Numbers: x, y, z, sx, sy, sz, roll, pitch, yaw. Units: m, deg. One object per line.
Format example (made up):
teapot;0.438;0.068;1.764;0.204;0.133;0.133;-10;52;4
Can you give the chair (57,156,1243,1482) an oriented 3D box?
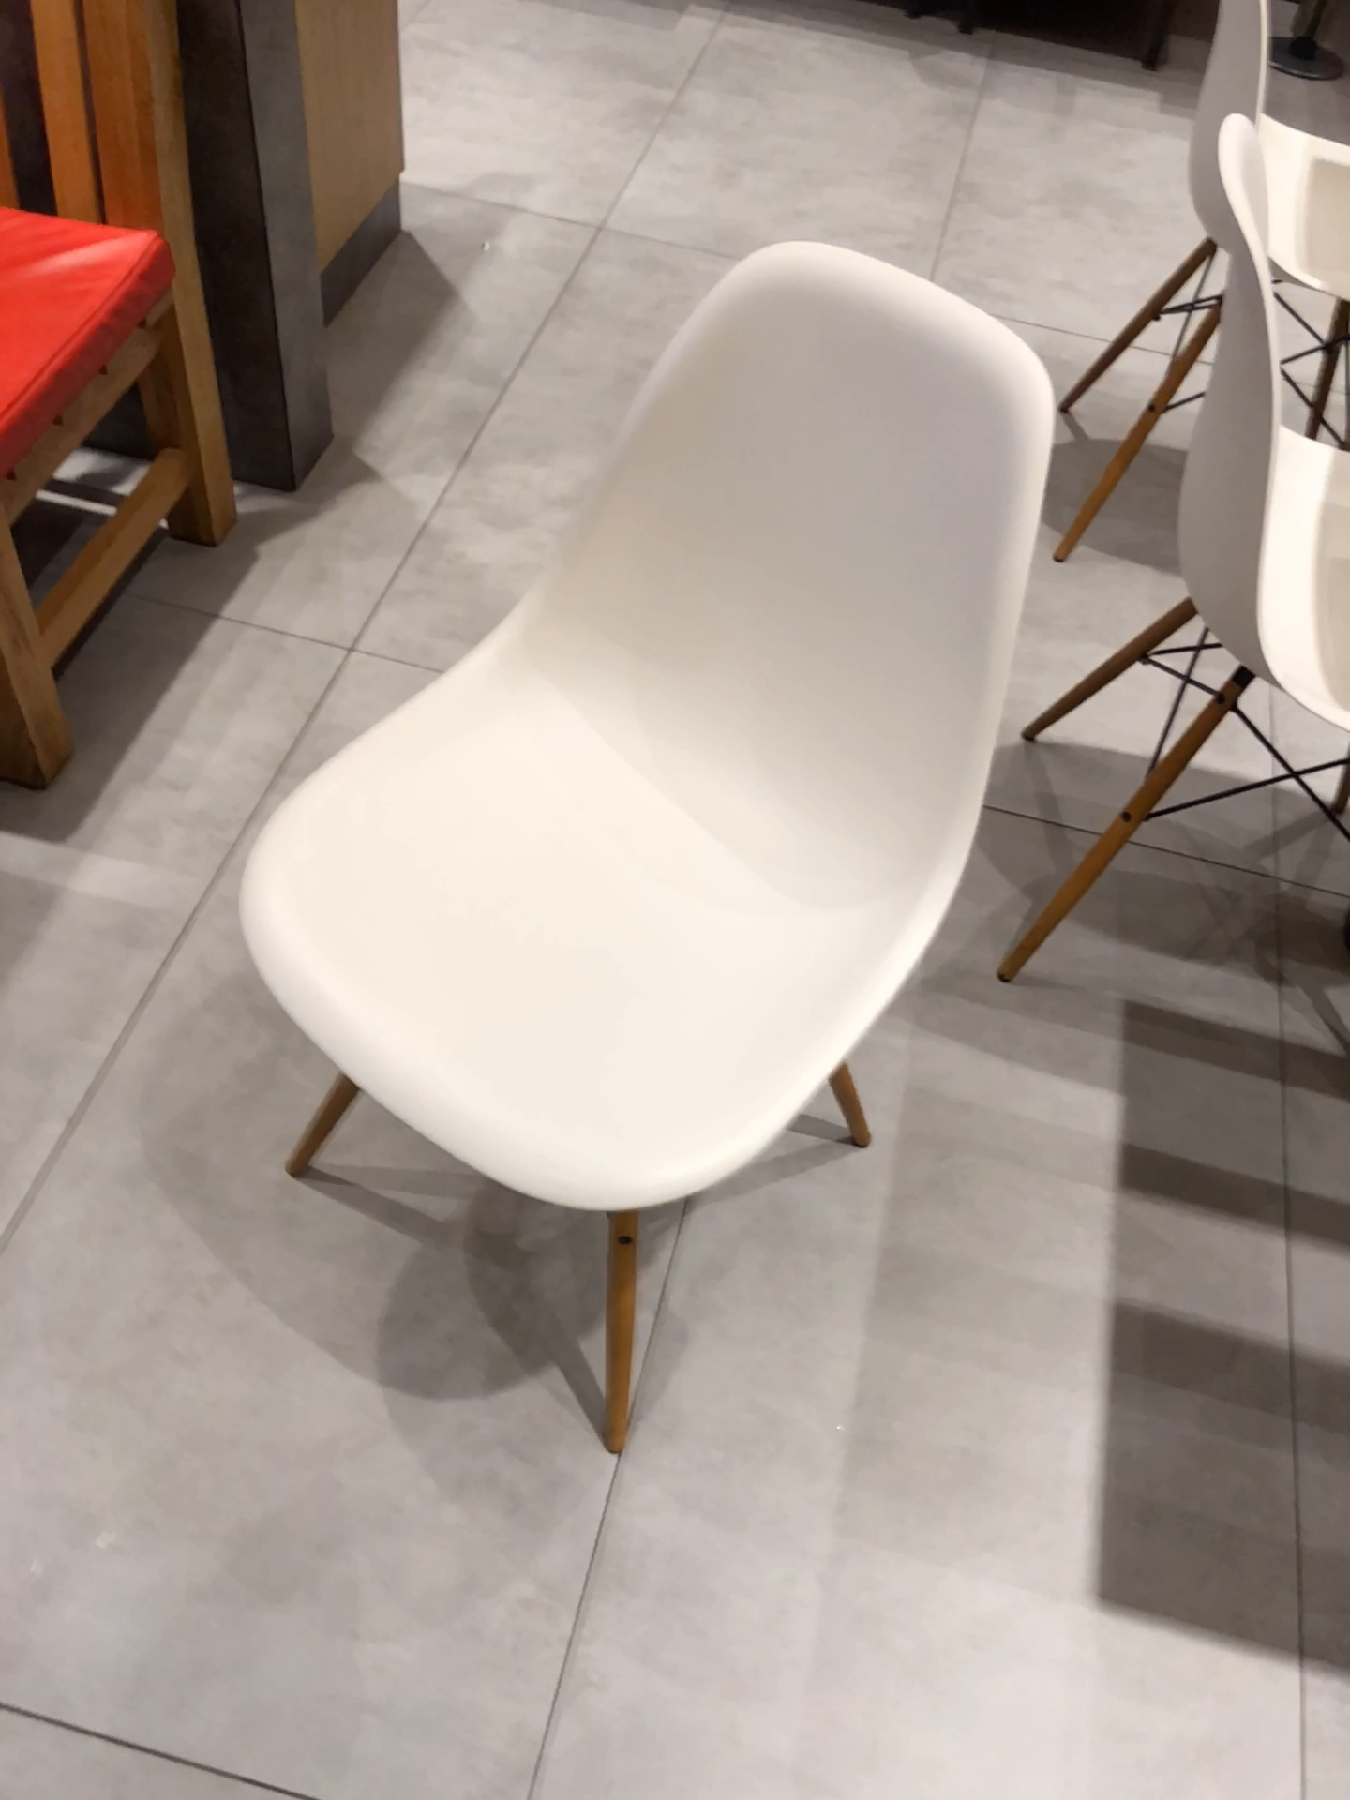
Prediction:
chair;-0.028;-0.035;1.182;0.472;0.779;0.554;35;54;19

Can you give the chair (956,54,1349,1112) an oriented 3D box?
chair;0.663;-0.285;1.488;0.512;0.769;0.563;14;50;4
